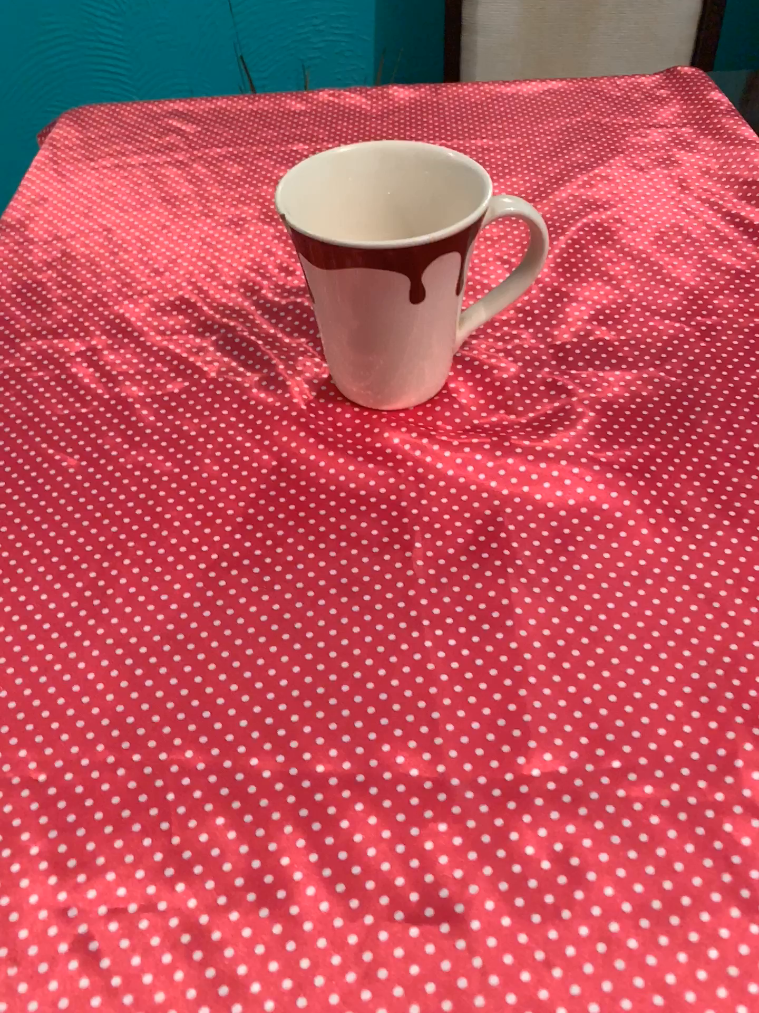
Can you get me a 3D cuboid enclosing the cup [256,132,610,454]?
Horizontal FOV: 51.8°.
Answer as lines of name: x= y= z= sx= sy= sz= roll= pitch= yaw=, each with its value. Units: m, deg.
cup: x=0.019 y=-0.103 z=0.370 sx=0.130 sy=0.090 sz=0.100 roll=-11 pitch=48 yaw=-7
